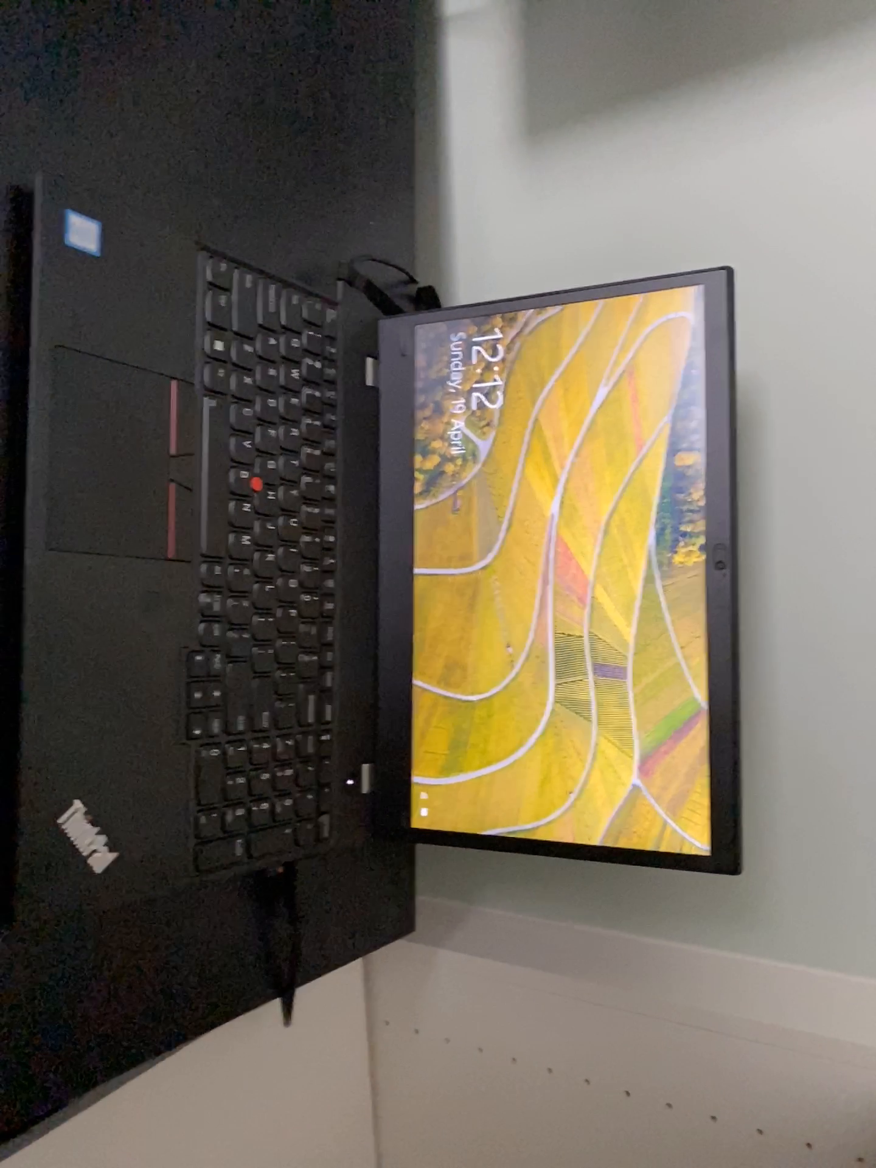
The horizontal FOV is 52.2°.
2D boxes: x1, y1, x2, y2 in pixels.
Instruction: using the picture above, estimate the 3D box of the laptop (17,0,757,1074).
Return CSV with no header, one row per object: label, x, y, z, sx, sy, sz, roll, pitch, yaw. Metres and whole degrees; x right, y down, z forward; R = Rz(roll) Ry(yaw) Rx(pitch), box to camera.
laptop,-0.004,-0.013,0.467,0.295,0.231,0.351,6,83,-54
